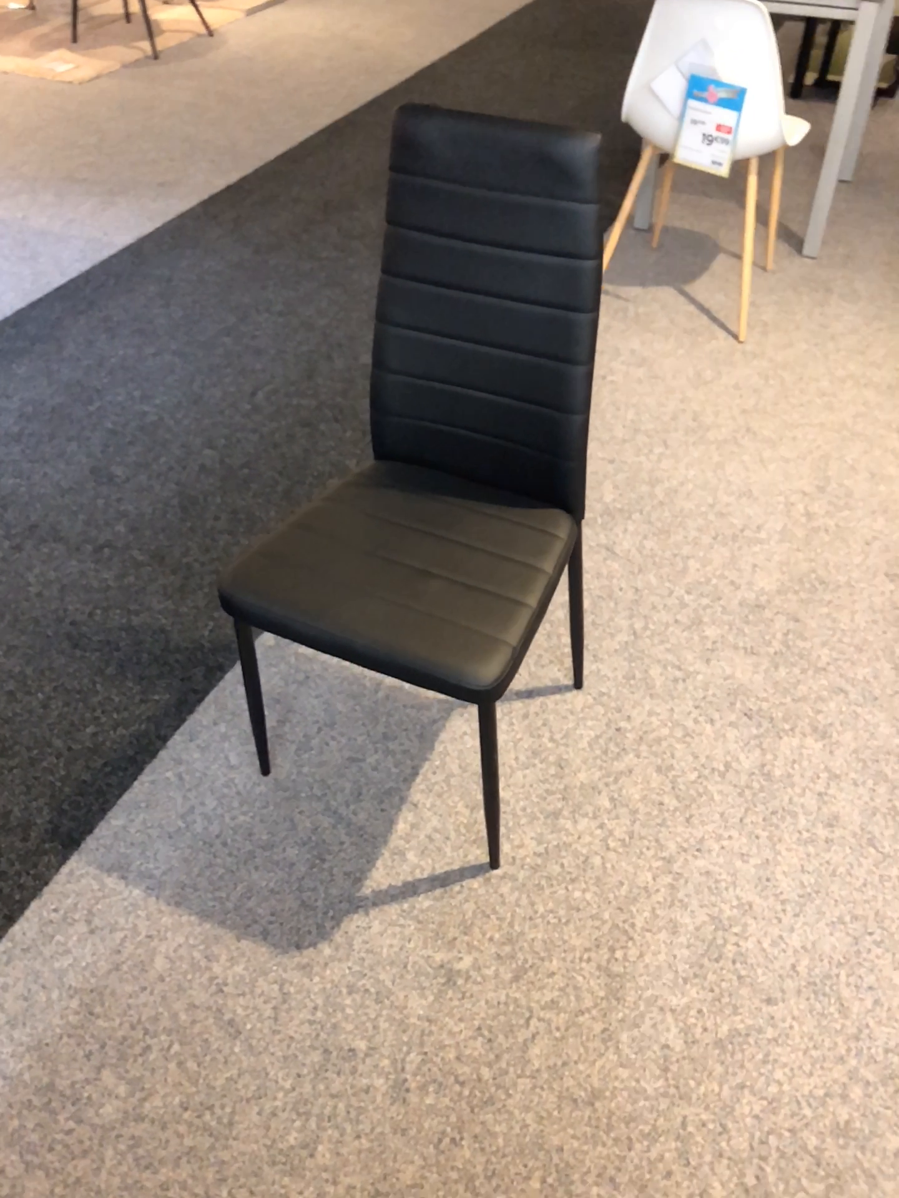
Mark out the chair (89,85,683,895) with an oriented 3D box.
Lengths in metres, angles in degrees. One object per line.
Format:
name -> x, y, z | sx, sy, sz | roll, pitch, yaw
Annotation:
chair -> -0.040, -0.120, 1.384 | 0.470, 0.934, 0.473 | 19, 46, 20
